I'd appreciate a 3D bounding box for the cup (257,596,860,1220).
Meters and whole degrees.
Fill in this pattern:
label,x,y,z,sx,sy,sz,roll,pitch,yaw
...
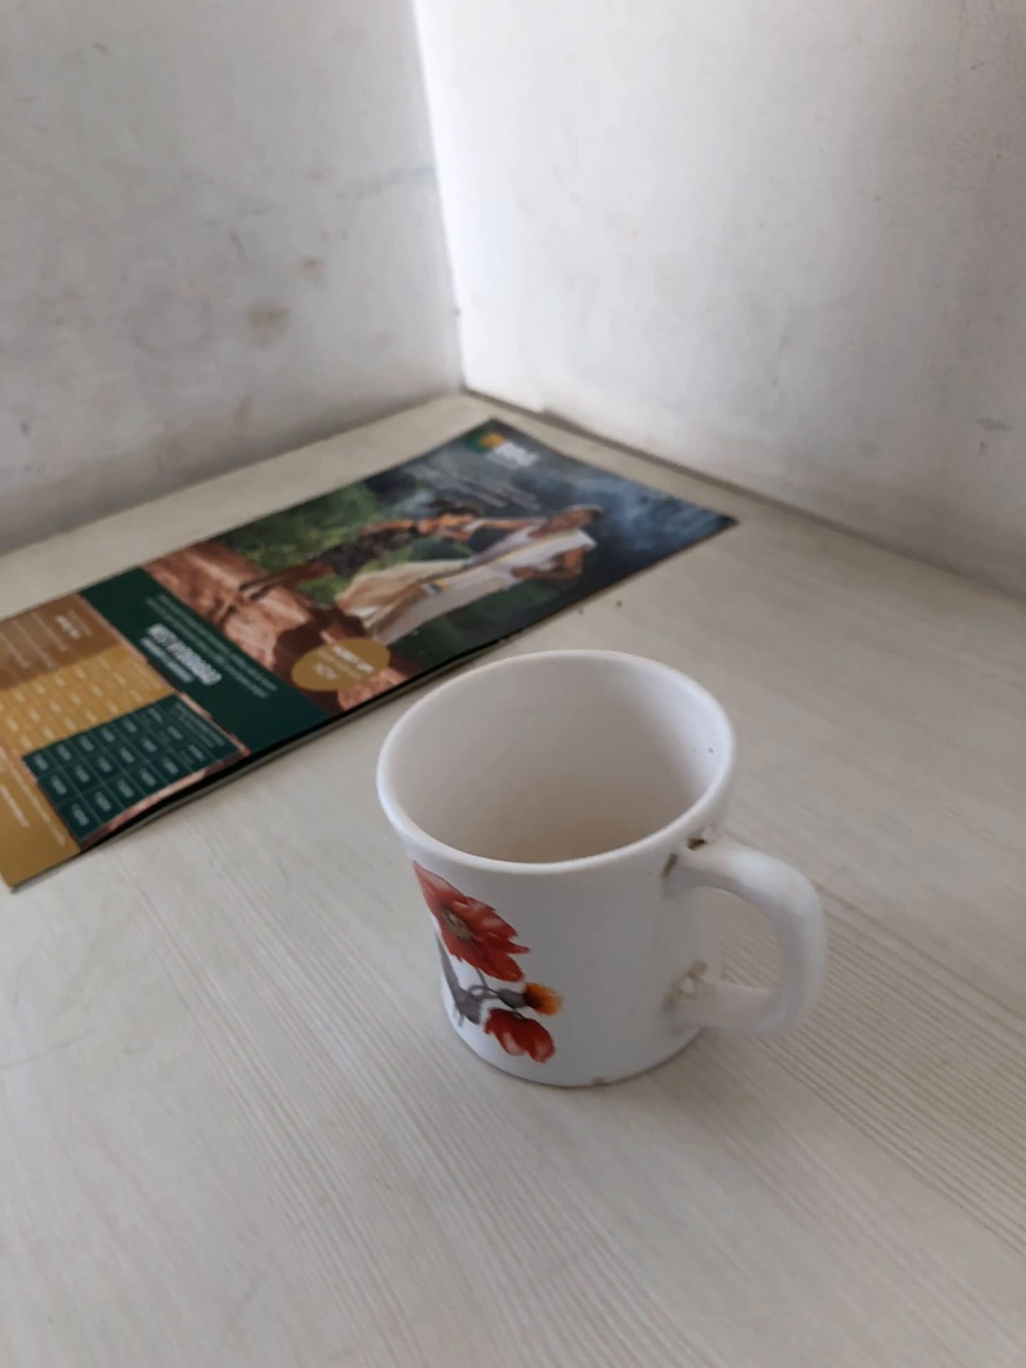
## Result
label,x,y,z,sx,sy,sz,roll,pitch,yaw
cup,0.012,0.038,0.235,0.090,0.070,0.070,19,41,35
